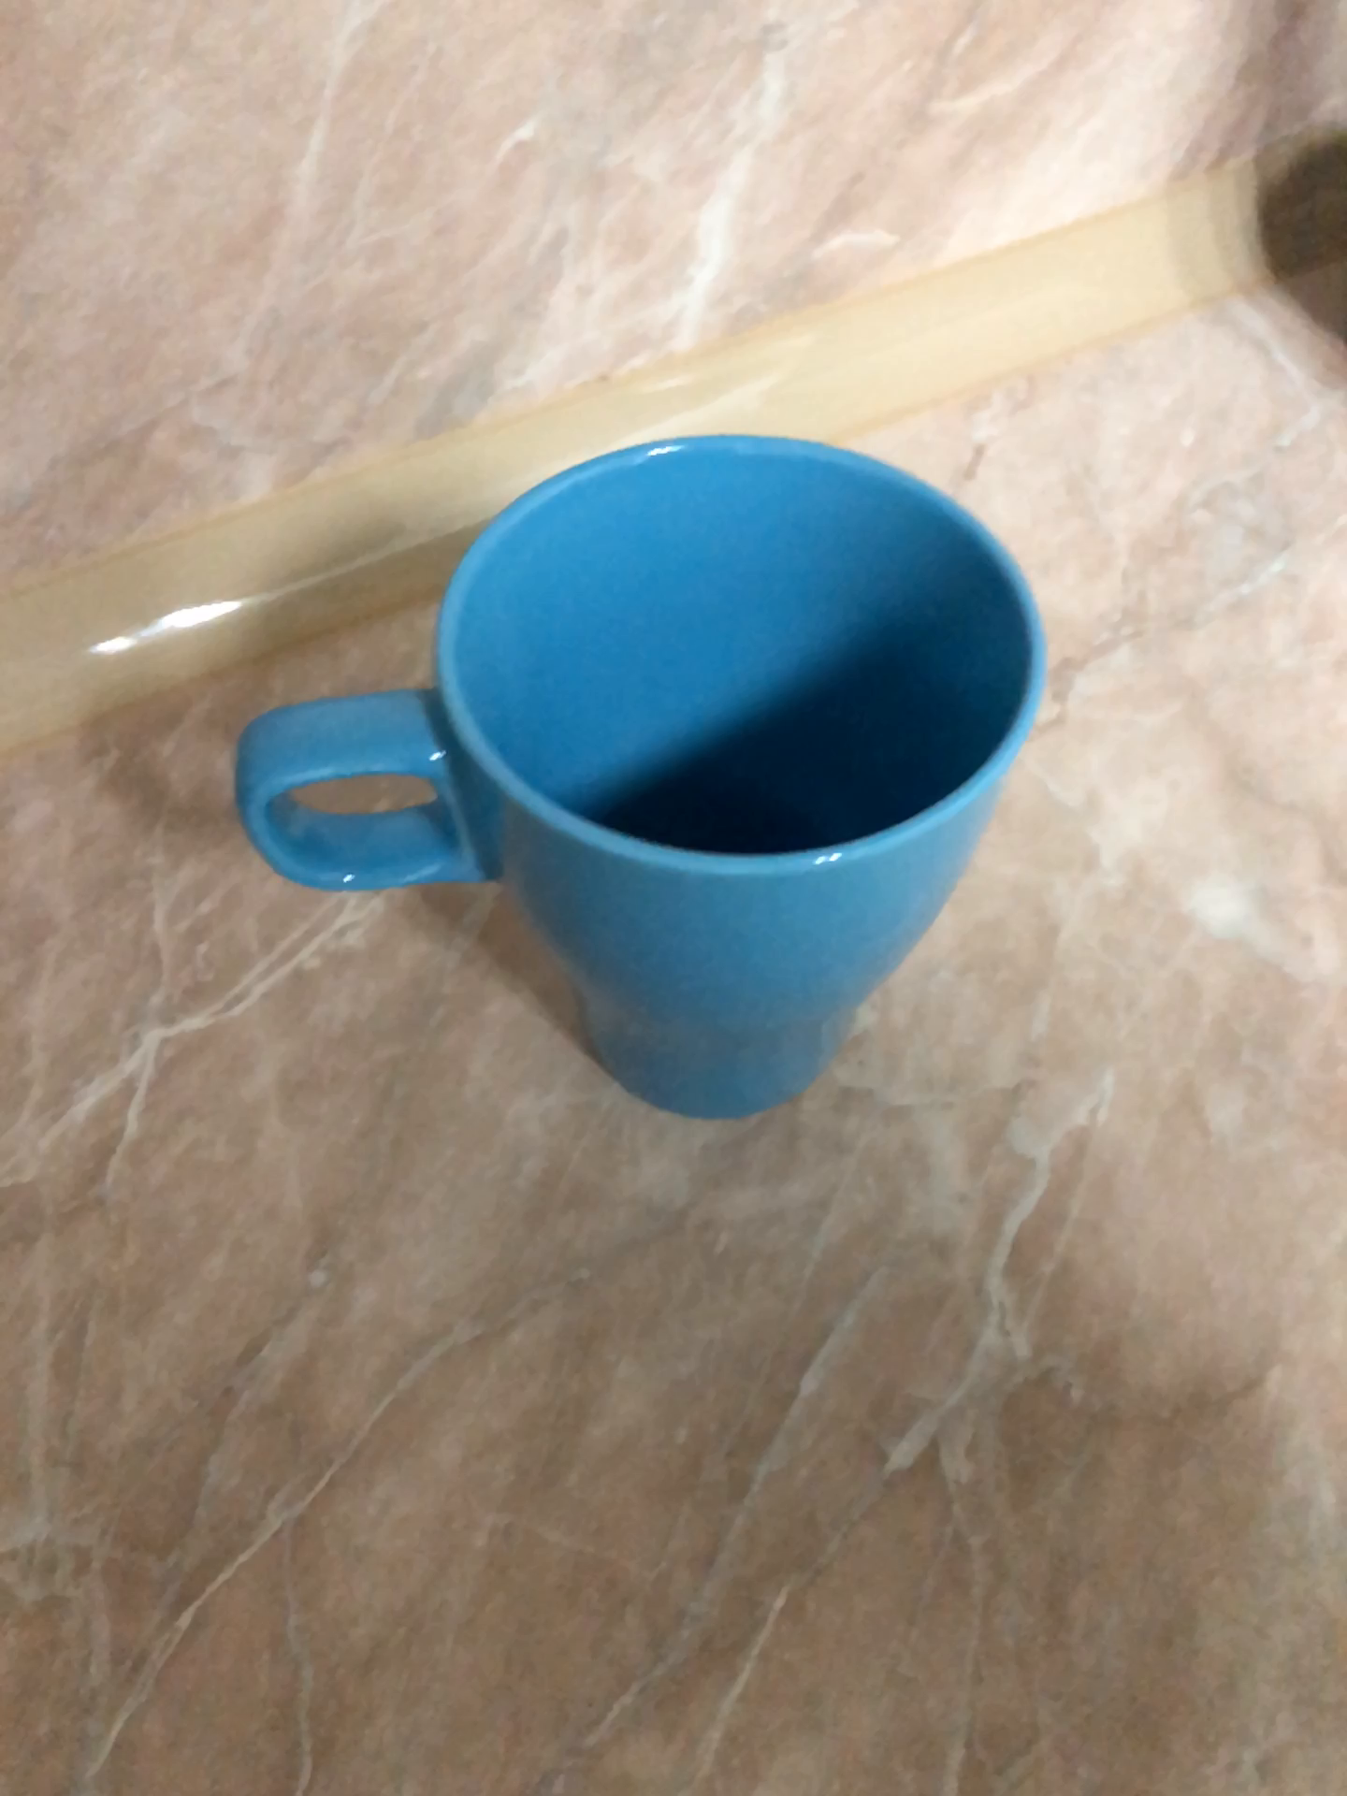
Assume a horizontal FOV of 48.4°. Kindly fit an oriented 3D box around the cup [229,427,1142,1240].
[{"bbox_3d":[-0.002,-0.008,0.242,0.111,0.089,0.086,-5,55,-4],"label":"cup"}]
